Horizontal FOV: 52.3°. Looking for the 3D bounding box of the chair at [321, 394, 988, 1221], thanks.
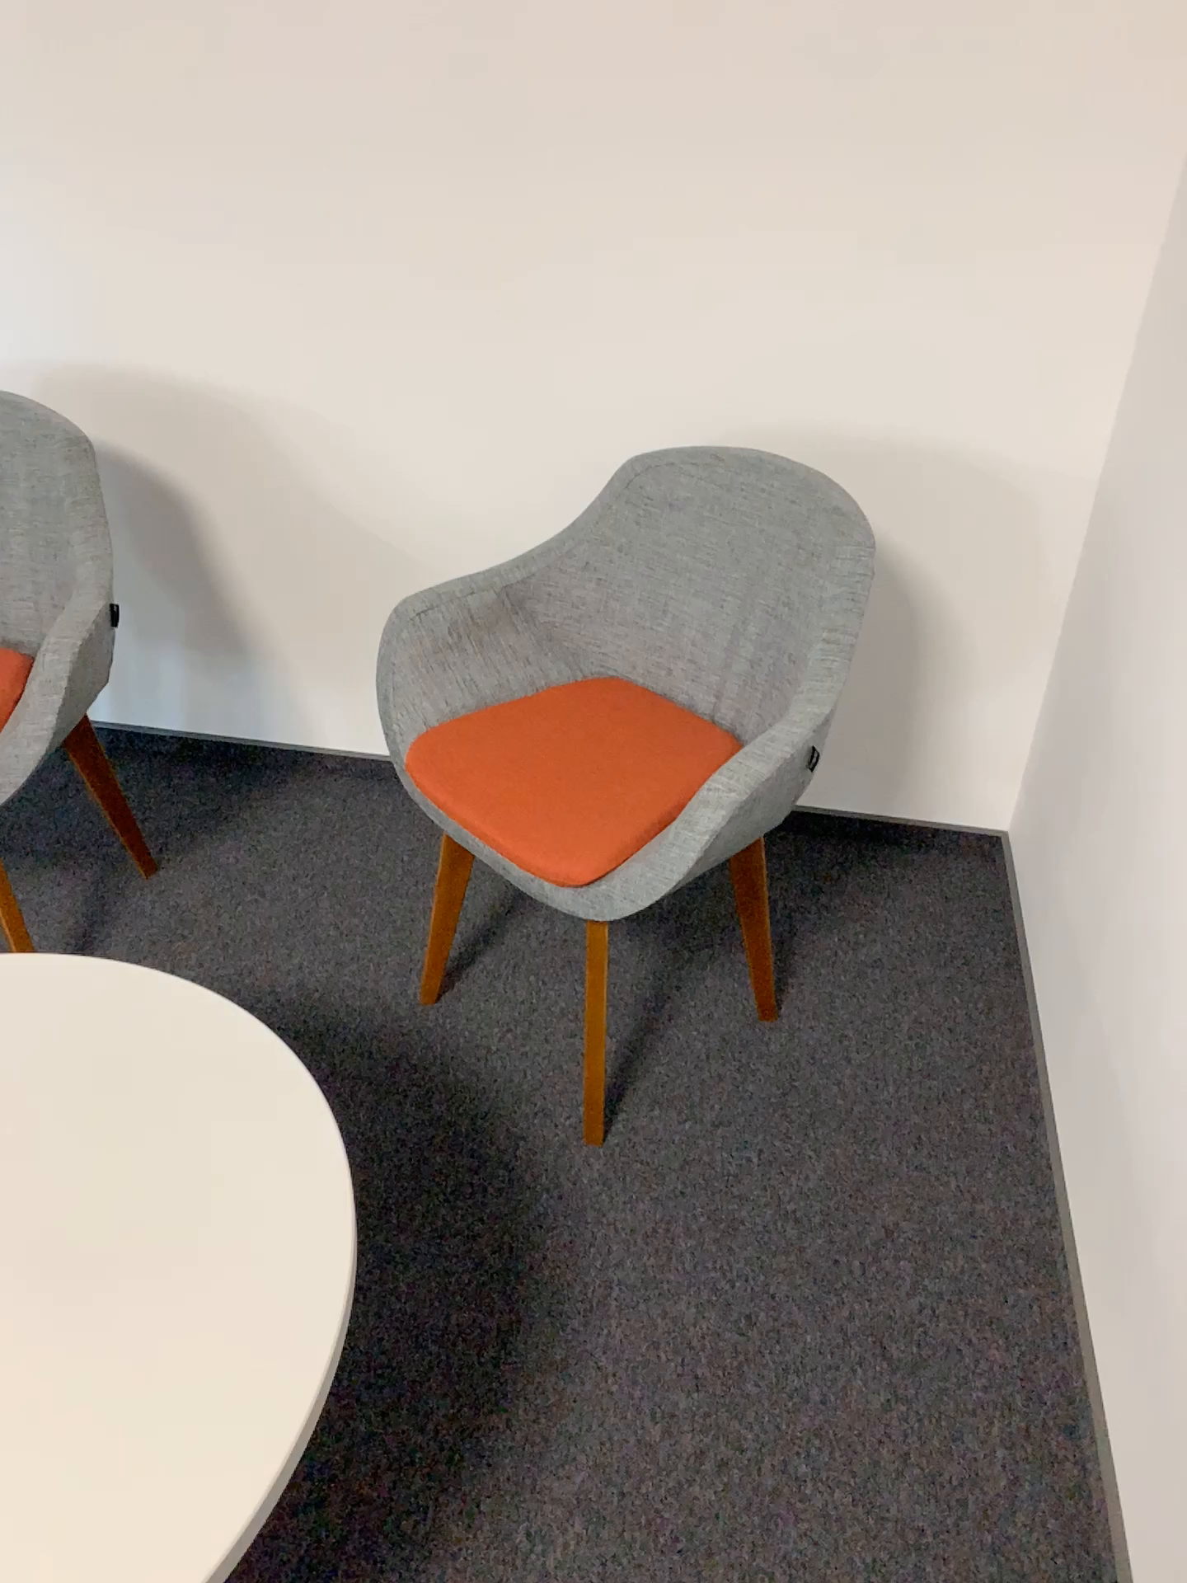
[{"bbox_3d":[0.049,-0.012,1.683,0.502,0.835,0.632,-26,43,-35],"label":"chair"}]
